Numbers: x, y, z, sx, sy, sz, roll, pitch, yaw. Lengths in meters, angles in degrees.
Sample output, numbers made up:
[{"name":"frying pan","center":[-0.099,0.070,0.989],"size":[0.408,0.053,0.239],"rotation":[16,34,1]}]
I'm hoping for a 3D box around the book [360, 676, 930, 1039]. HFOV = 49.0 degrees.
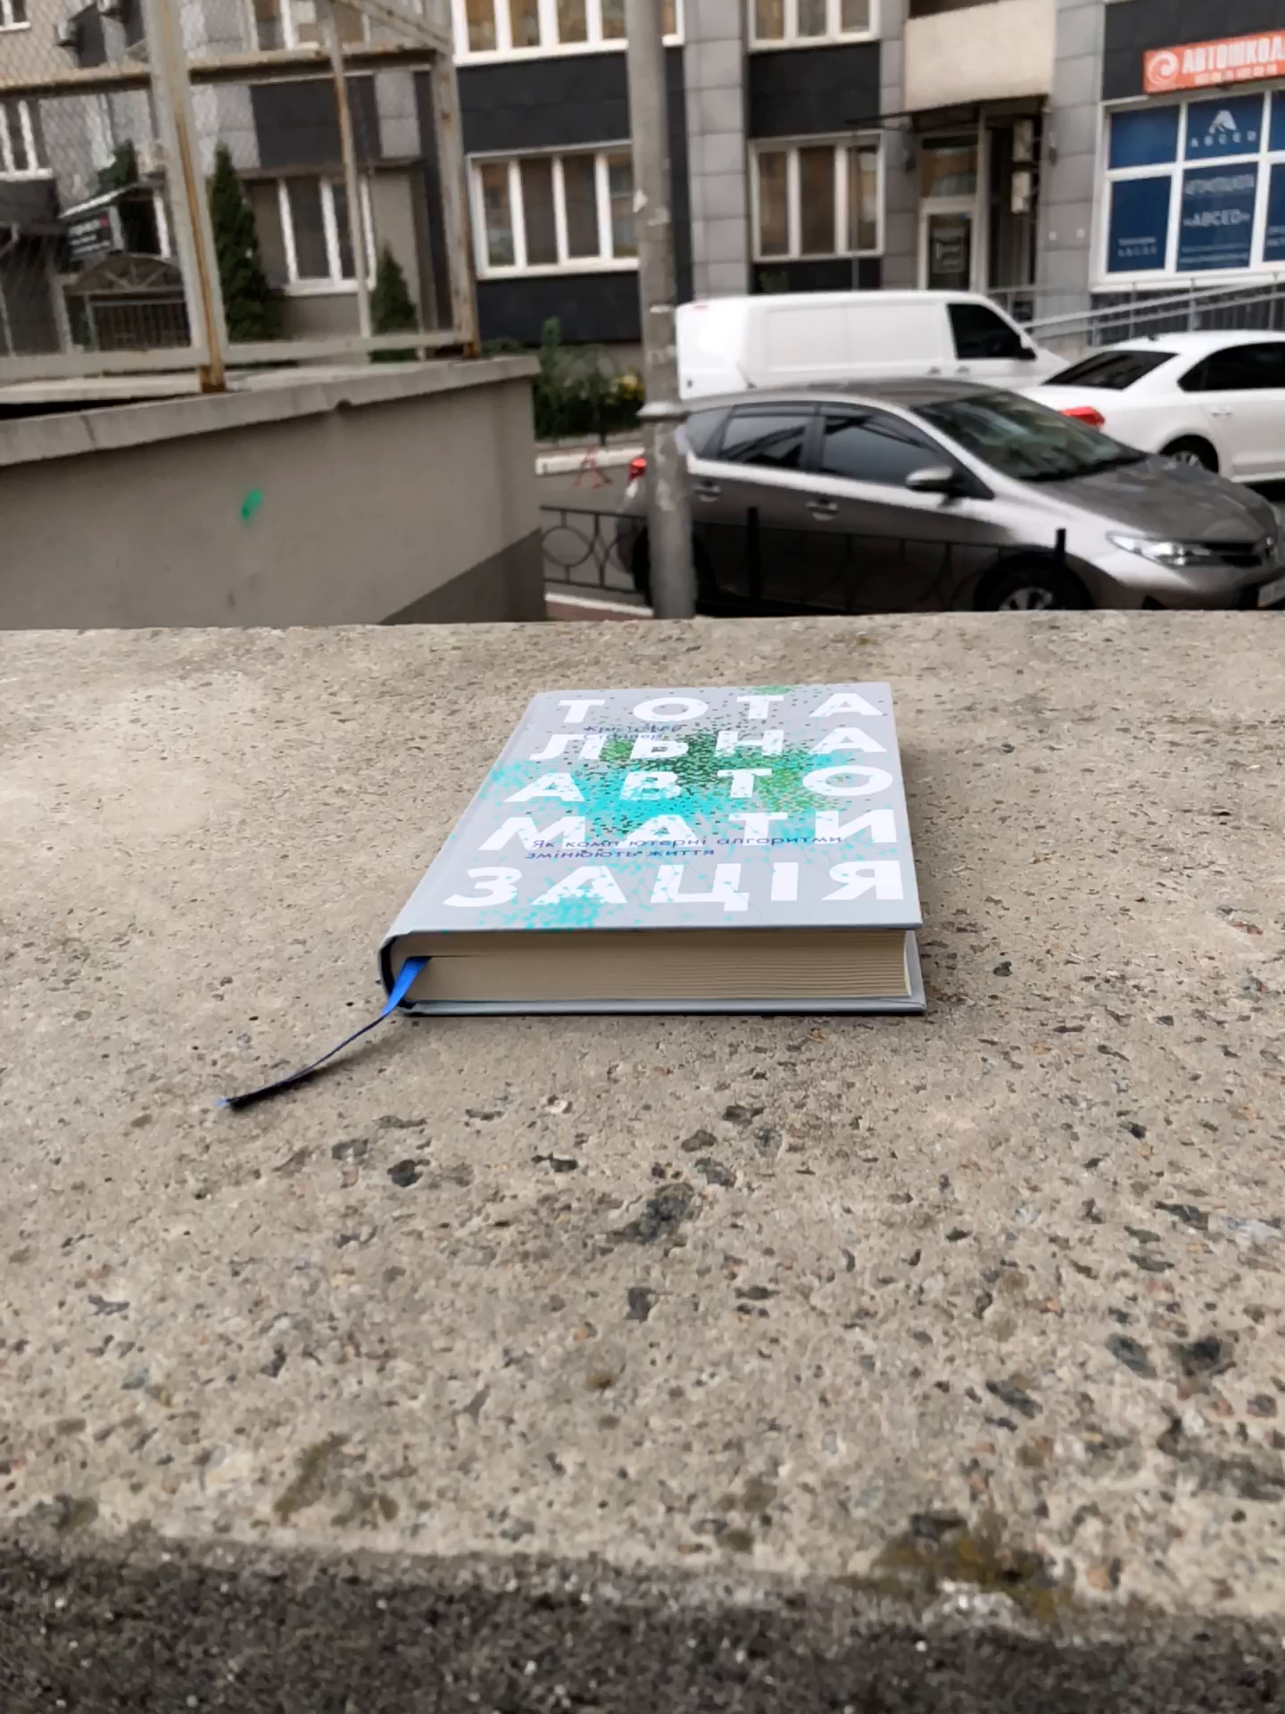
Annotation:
[{"name":"book","center":[0.011,-0.011,0.475],"size":[0.150,0.030,0.221],"rotation":[-1,25,7]}]
